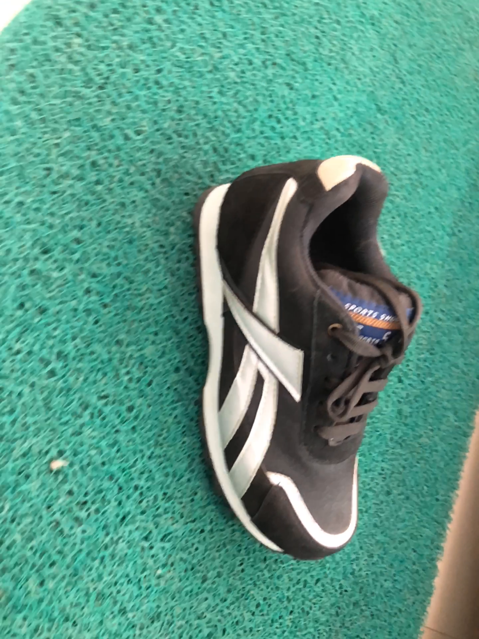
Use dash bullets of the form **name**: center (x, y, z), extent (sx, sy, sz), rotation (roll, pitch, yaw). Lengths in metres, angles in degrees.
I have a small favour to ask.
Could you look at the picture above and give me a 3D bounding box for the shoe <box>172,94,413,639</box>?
- **shoe**: center (0.034, 0.025, 0.357), extent (0.101, 0.109, 0.290), rotation (-3, 91, -42)
